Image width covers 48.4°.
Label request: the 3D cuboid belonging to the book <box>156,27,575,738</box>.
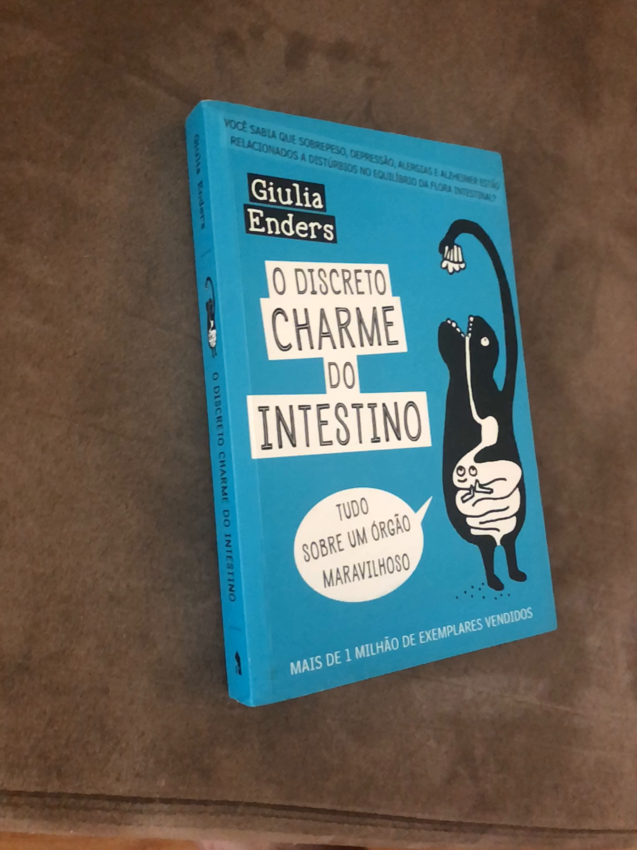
[{"bbox_3d":[0.021,-0.019,0.264,0.141,0.030,0.220,-2,83,-30],"label":"book"}]
